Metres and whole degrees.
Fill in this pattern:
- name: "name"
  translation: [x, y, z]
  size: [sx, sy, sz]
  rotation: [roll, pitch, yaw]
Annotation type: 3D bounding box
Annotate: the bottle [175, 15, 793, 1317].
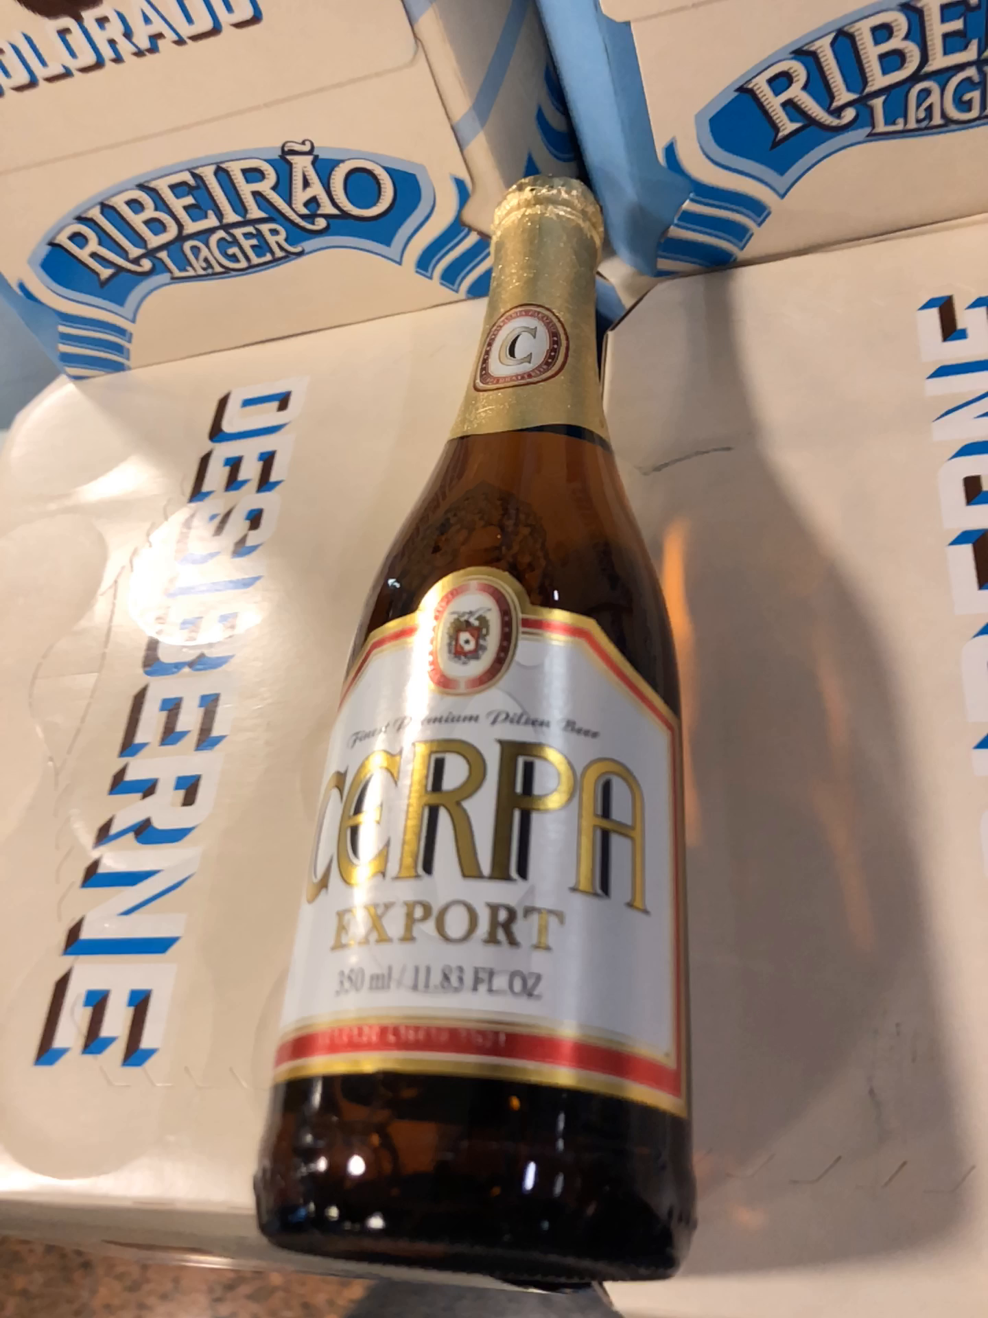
- name: "bottle"
  translation: [0.013, -0.016, 0.211]
  size: [0.070, 0.060, 0.241]
  rotation: [-5, 59, 18]
